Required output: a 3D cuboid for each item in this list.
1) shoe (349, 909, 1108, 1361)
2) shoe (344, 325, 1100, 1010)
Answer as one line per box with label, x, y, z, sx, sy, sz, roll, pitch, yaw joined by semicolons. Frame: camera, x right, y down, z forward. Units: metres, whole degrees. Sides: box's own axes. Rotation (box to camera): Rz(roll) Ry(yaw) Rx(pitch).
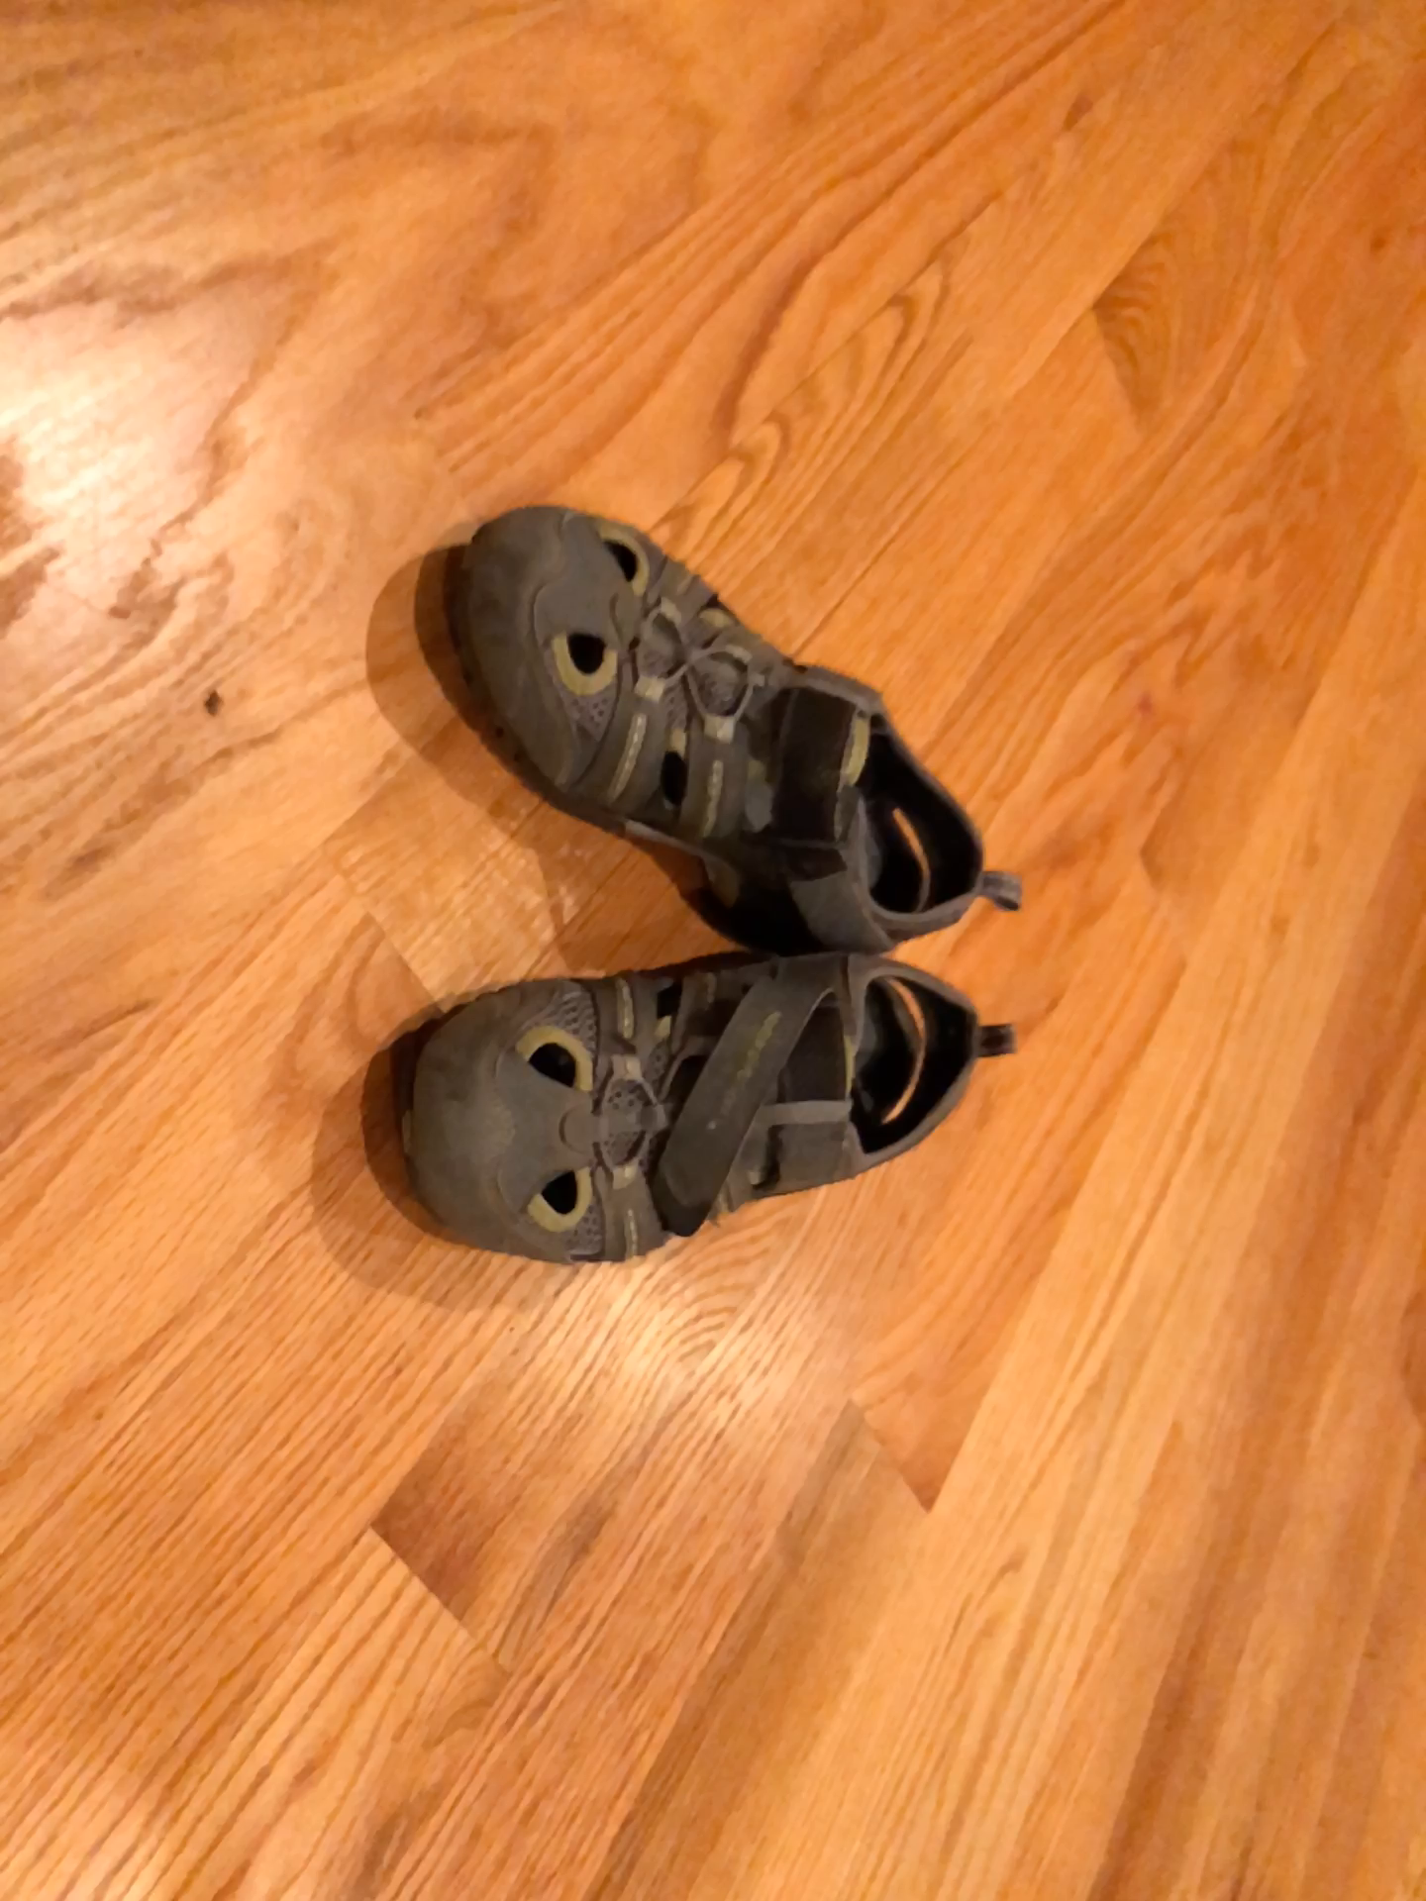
shoe;0.019;0.048;0.529;0.246;0.113;0.100;-7;92;-48
shoe;0.018;-0.076;0.542;0.246;0.113;0.100;34;63;-41
